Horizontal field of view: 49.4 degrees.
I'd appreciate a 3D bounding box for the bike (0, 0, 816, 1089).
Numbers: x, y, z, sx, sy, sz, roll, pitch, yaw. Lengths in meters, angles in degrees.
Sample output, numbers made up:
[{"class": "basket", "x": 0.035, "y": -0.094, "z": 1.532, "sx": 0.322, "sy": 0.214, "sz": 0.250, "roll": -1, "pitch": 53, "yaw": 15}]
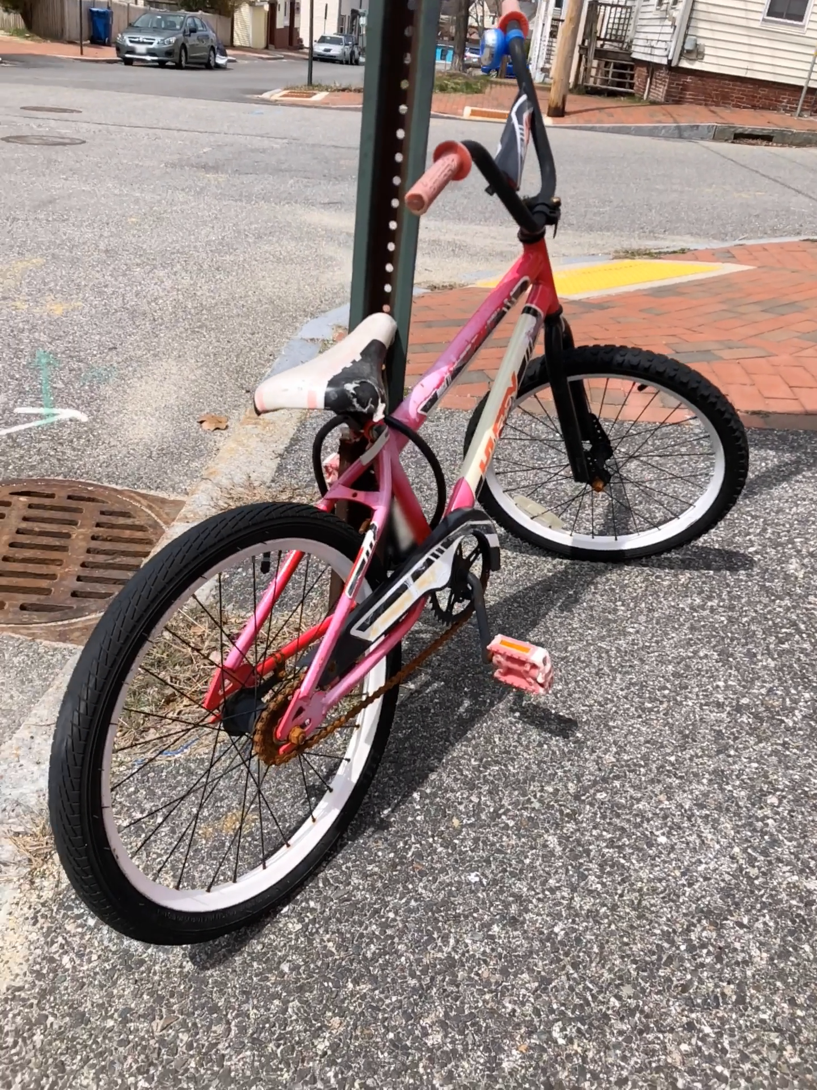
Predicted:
[{"class": "bike", "x": 0.120, "y": -0.168, "z": 1.052, "sx": 0.696, "sy": 0.887, "sz": 1.182, "roll": 29, "pitch": 39, "yaw": 31}]
